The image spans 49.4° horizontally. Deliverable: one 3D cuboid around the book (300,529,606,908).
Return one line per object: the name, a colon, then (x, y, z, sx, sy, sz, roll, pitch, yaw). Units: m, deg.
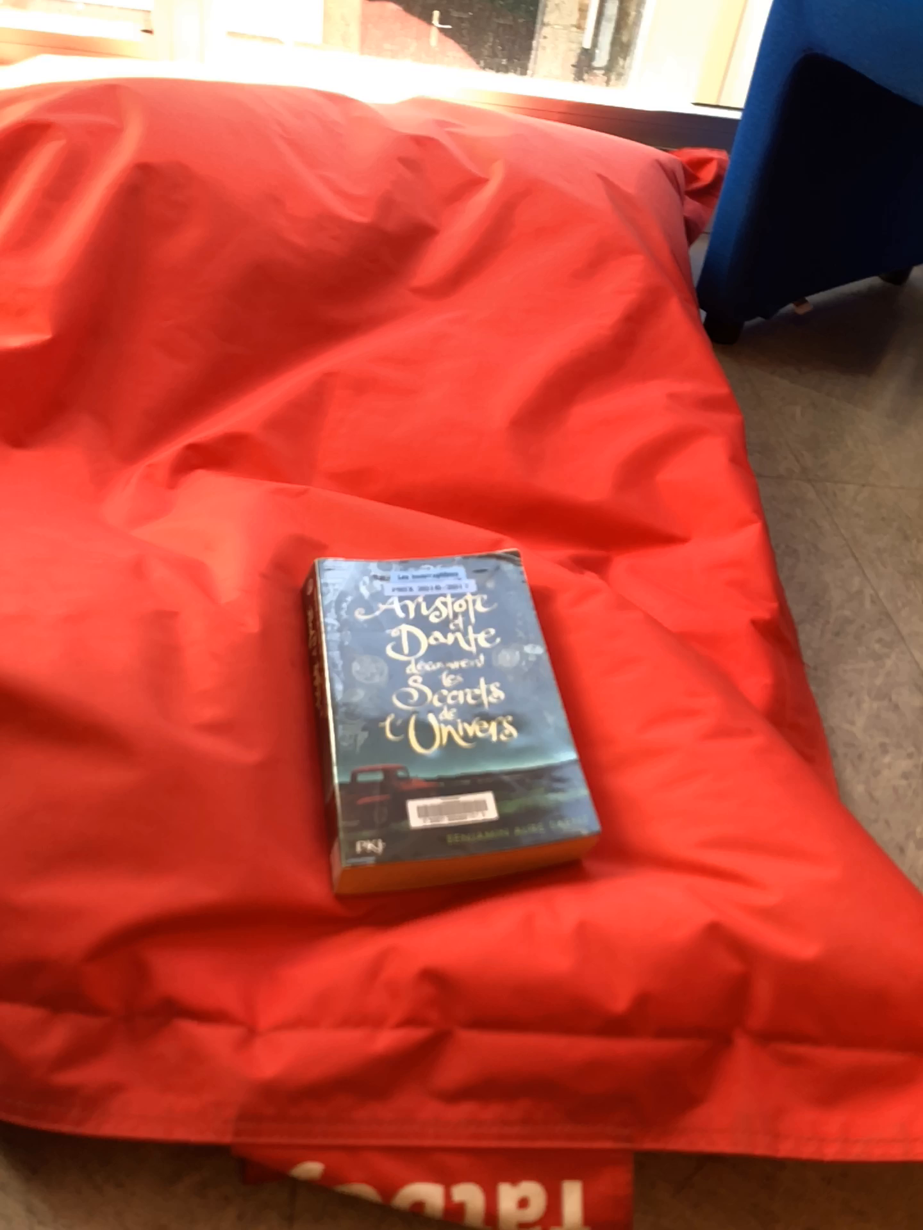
book: (-0.016, 0.050, 0.601, 0.149, 0.048, 0.229, -4, 49, -8)
